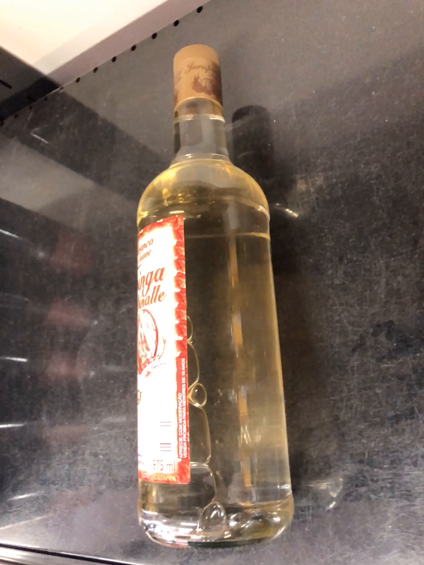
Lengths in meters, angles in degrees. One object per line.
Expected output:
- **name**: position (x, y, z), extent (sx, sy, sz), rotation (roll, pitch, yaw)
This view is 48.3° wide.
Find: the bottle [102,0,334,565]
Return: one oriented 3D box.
- **bottle**: position (-0.006, -0.016, 0.278), extent (0.100, 0.080, 0.300), rotation (-3, 77, -2)
